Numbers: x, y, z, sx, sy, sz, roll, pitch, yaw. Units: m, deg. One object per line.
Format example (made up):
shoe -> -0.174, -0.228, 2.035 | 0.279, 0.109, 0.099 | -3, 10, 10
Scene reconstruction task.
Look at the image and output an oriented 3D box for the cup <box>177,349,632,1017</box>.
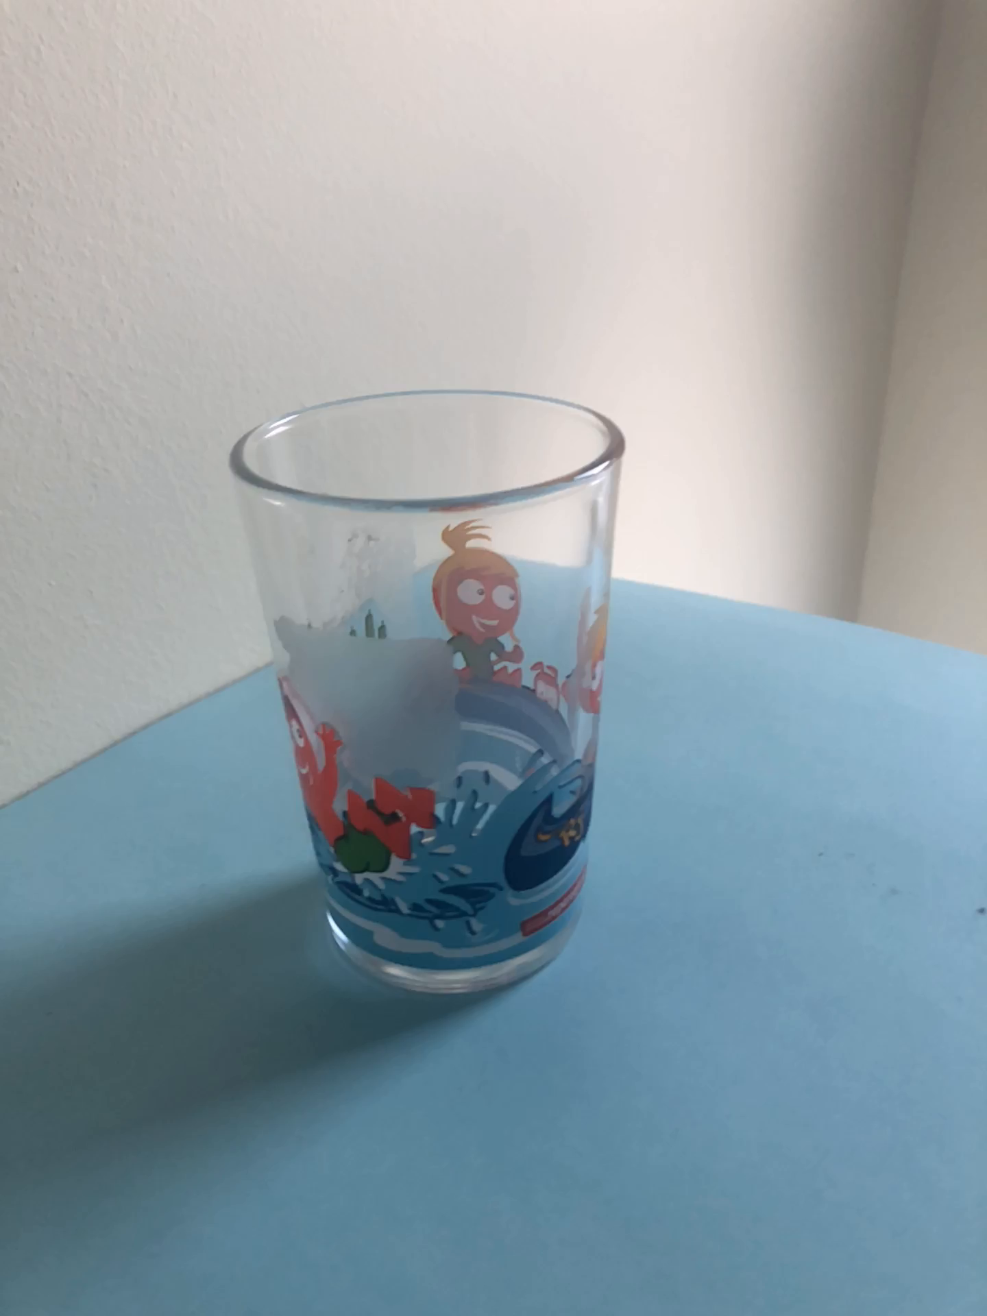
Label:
cup -> -0.008, 0.002, 0.197 | 0.060, 0.099, 0.060 | -1, 27, 1
